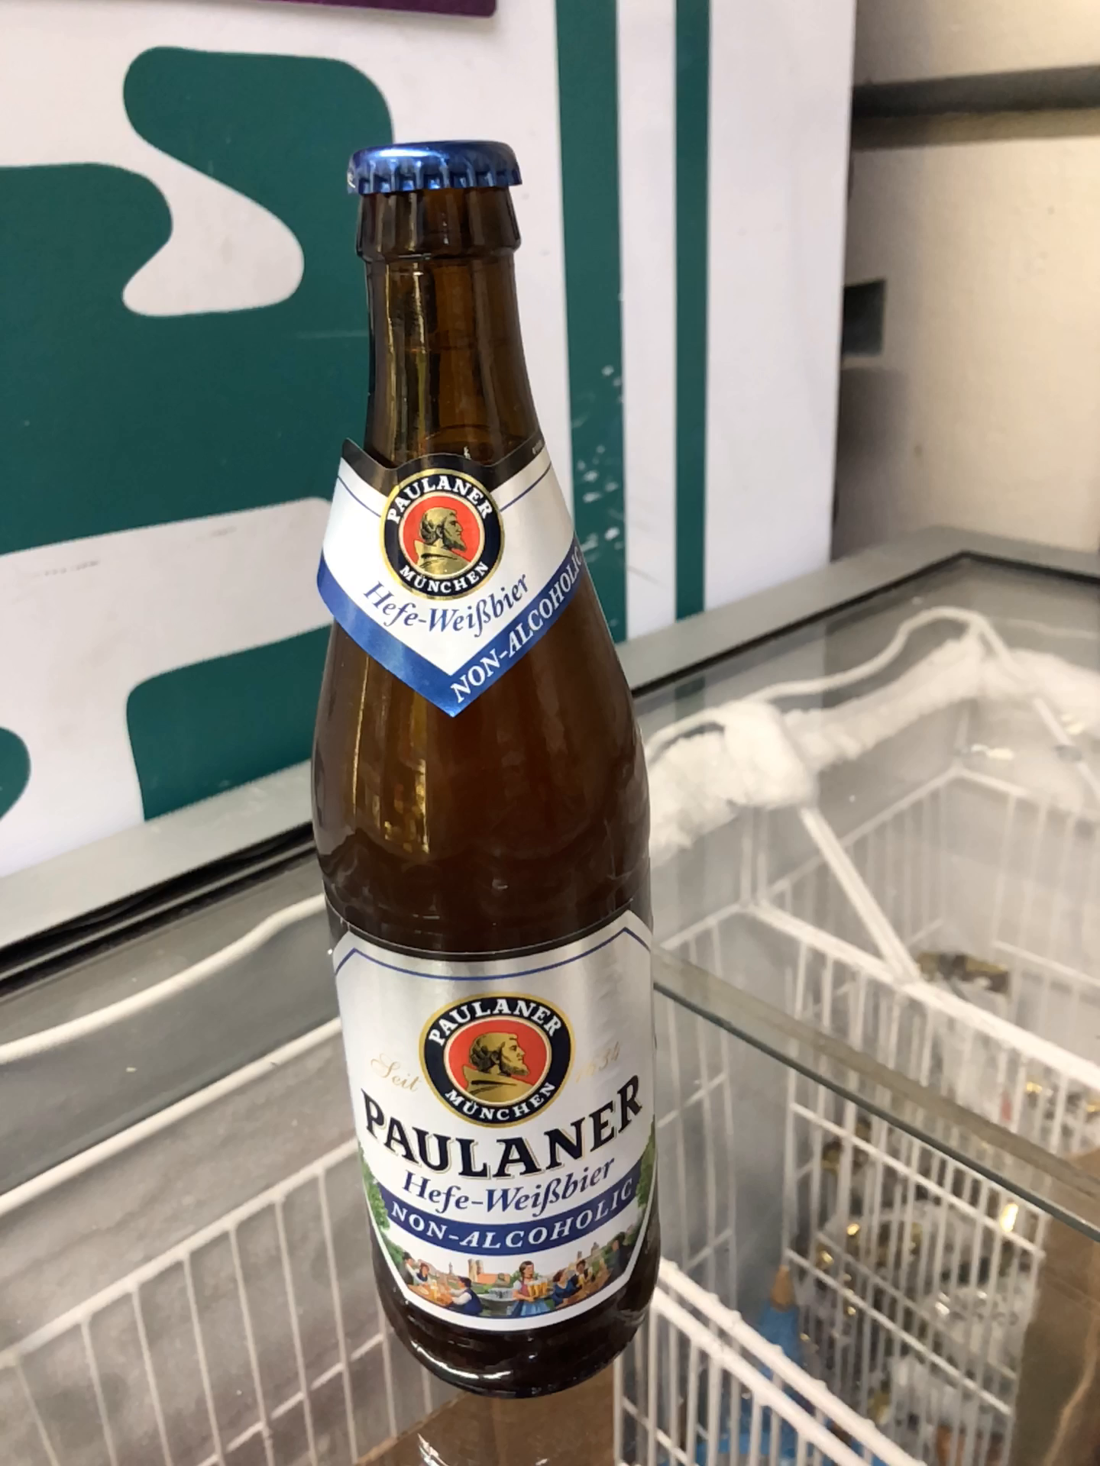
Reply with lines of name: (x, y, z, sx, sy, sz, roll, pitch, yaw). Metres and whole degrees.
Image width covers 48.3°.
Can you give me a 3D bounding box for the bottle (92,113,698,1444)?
bottle: (-0.014, 0.021, 0.241, 0.080, 0.248, 0.070, -1, 23, 3)
